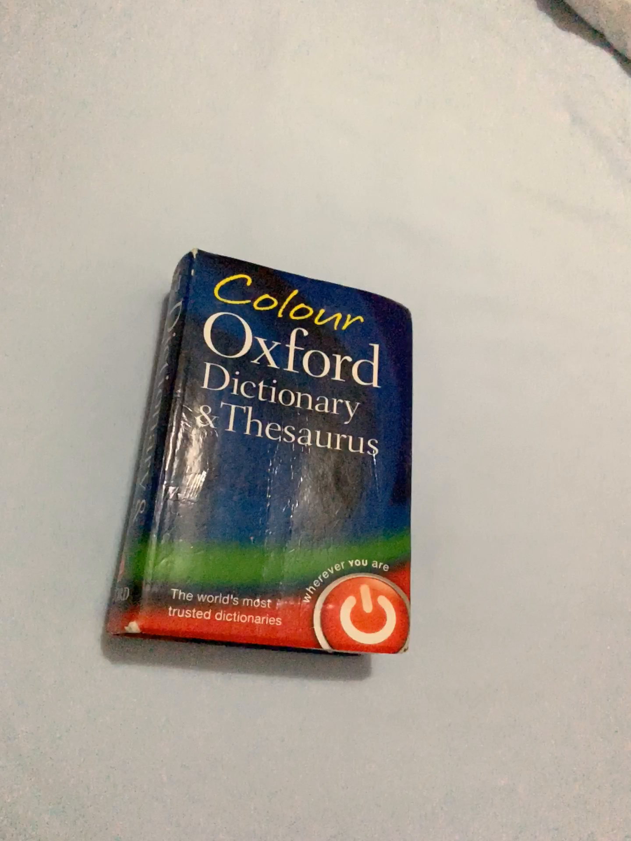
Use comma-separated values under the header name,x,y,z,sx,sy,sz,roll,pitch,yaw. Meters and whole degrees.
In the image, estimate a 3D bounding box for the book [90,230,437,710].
name,x,y,z,sx,sy,sz,roll,pitch,yaw
book,-0.014,0.019,0.278,0.120,0.040,0.181,9,70,-12
